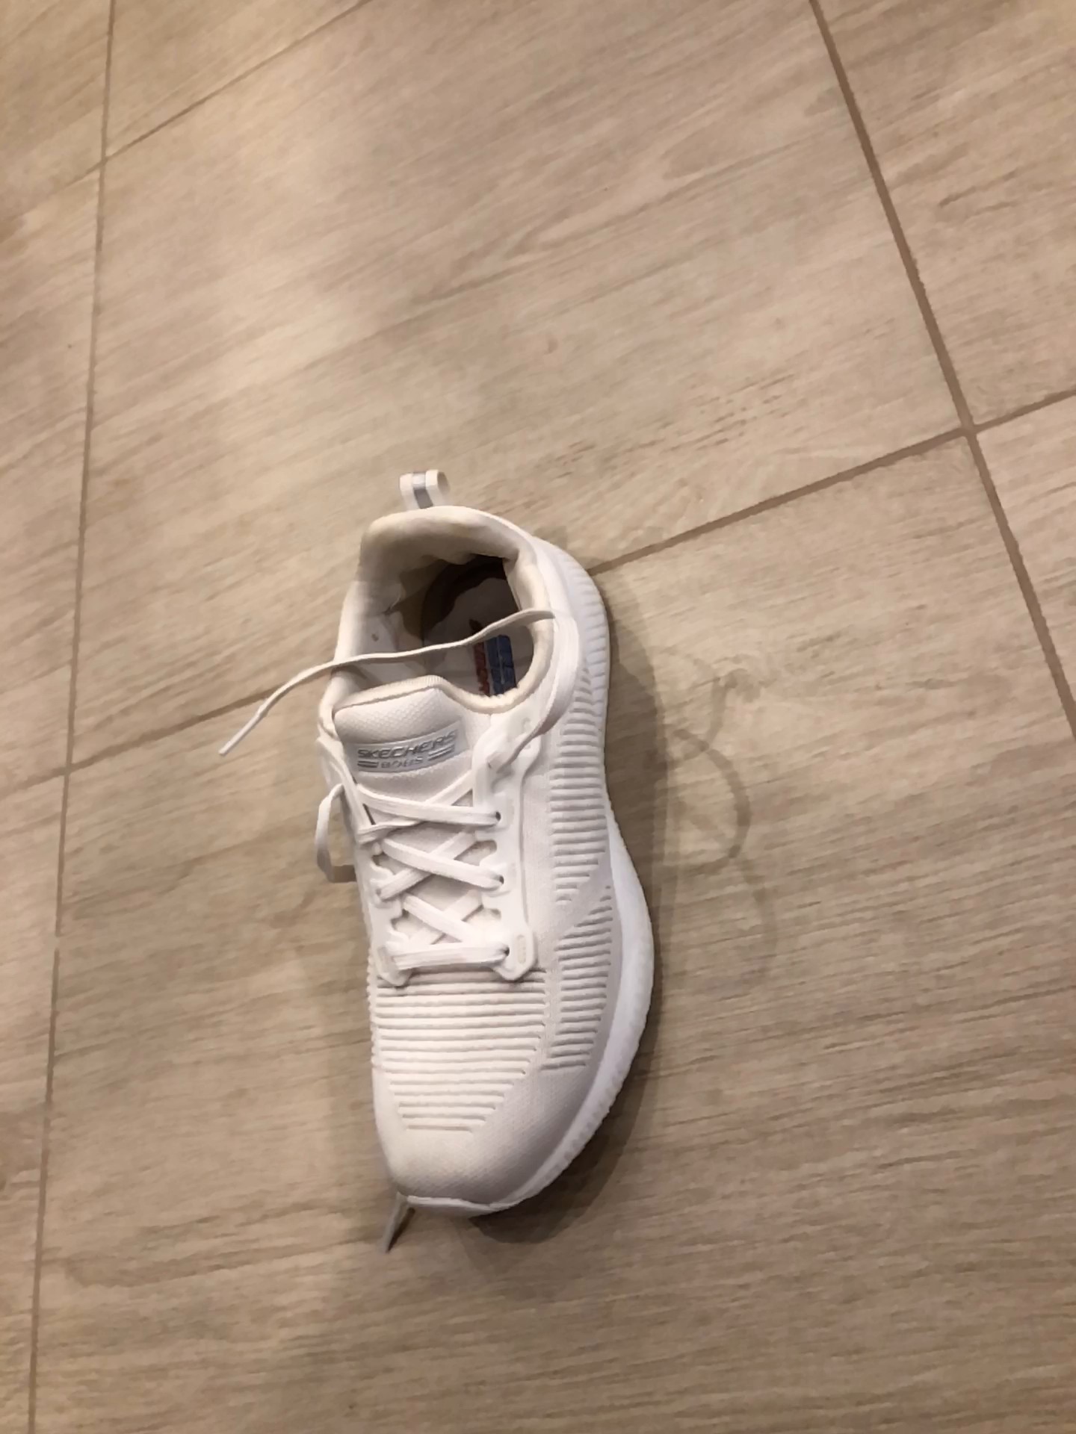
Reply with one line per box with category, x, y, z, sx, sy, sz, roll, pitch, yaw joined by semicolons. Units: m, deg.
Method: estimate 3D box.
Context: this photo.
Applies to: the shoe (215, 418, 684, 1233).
shoe;-0.020;0.041;0.393;0.090;0.120;0.231;-10;67;25
